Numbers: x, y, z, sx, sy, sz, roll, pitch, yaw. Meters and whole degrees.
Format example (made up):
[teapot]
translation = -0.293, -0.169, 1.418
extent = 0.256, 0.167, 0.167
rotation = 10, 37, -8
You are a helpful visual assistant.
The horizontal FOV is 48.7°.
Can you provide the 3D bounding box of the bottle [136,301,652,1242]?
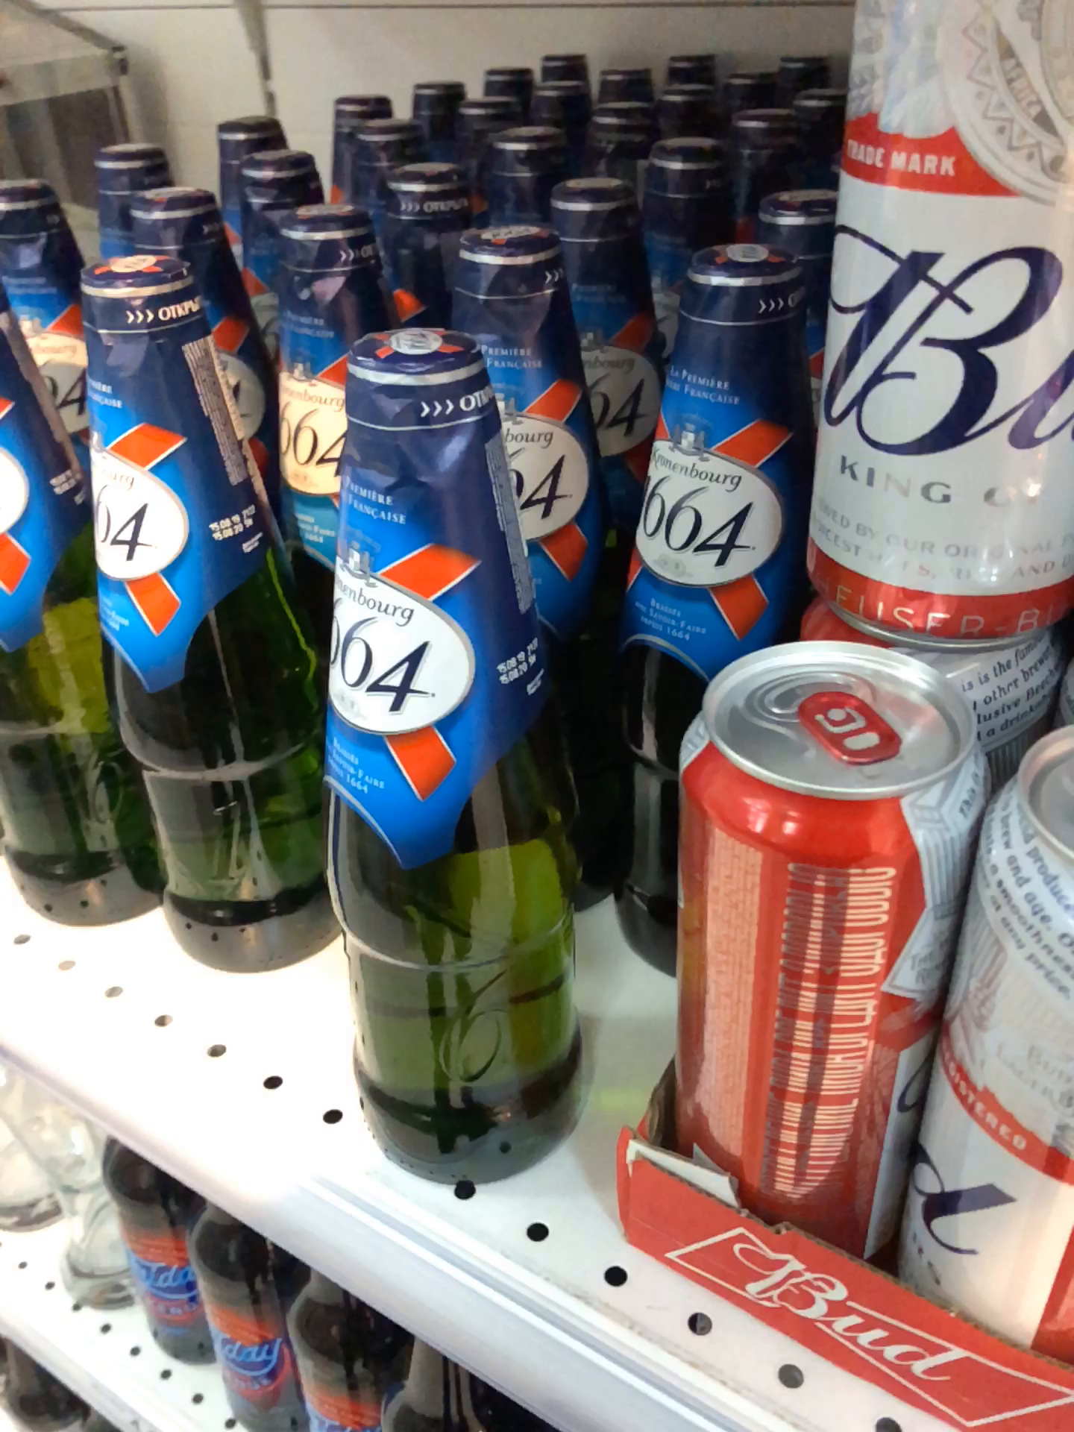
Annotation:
[bottle]
translation = -0.028, 0.020, 0.308
extent = 0.080, 0.219, 0.080
rotation = -2, 33, 1
